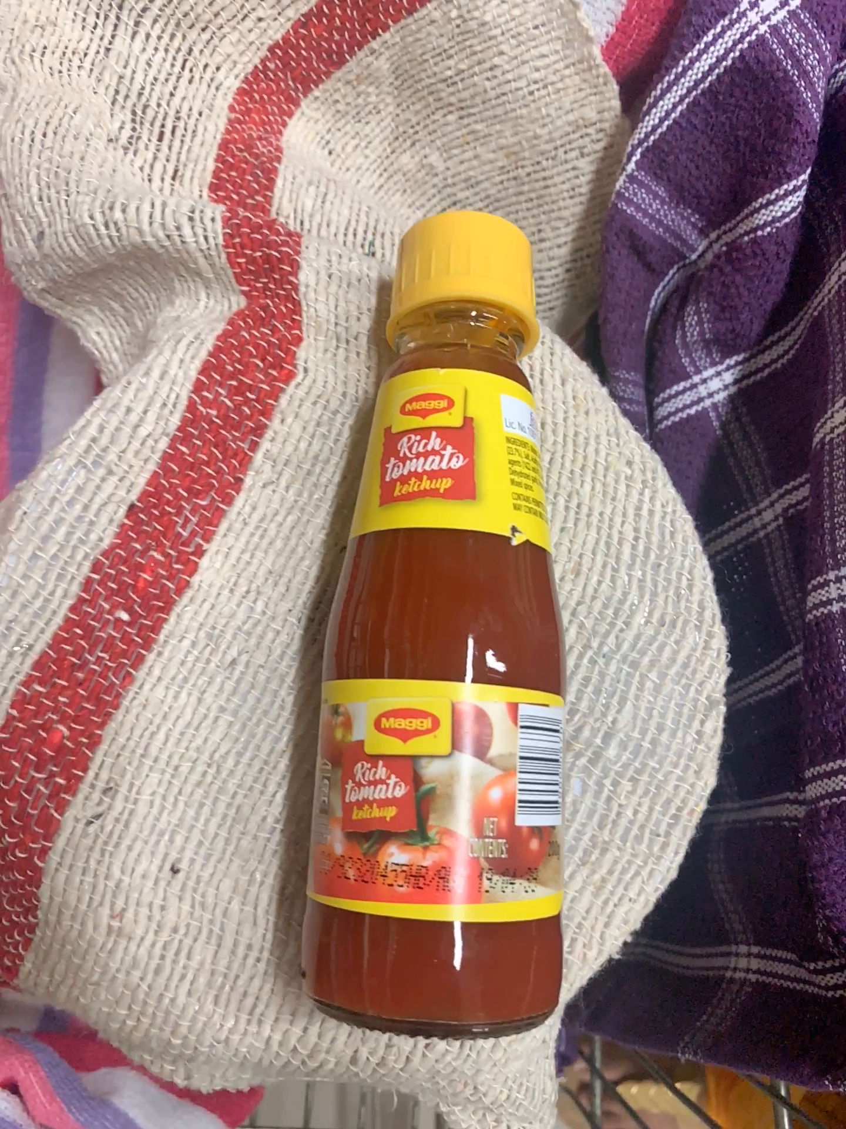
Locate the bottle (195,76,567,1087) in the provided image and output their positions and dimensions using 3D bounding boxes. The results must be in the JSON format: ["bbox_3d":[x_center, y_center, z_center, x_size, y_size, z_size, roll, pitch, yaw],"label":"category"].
[{"bbox_3d":[-0.002,-0.001,0.177,0.050,0.050,0.170,-2,77,20],"label":"bottle"}]
